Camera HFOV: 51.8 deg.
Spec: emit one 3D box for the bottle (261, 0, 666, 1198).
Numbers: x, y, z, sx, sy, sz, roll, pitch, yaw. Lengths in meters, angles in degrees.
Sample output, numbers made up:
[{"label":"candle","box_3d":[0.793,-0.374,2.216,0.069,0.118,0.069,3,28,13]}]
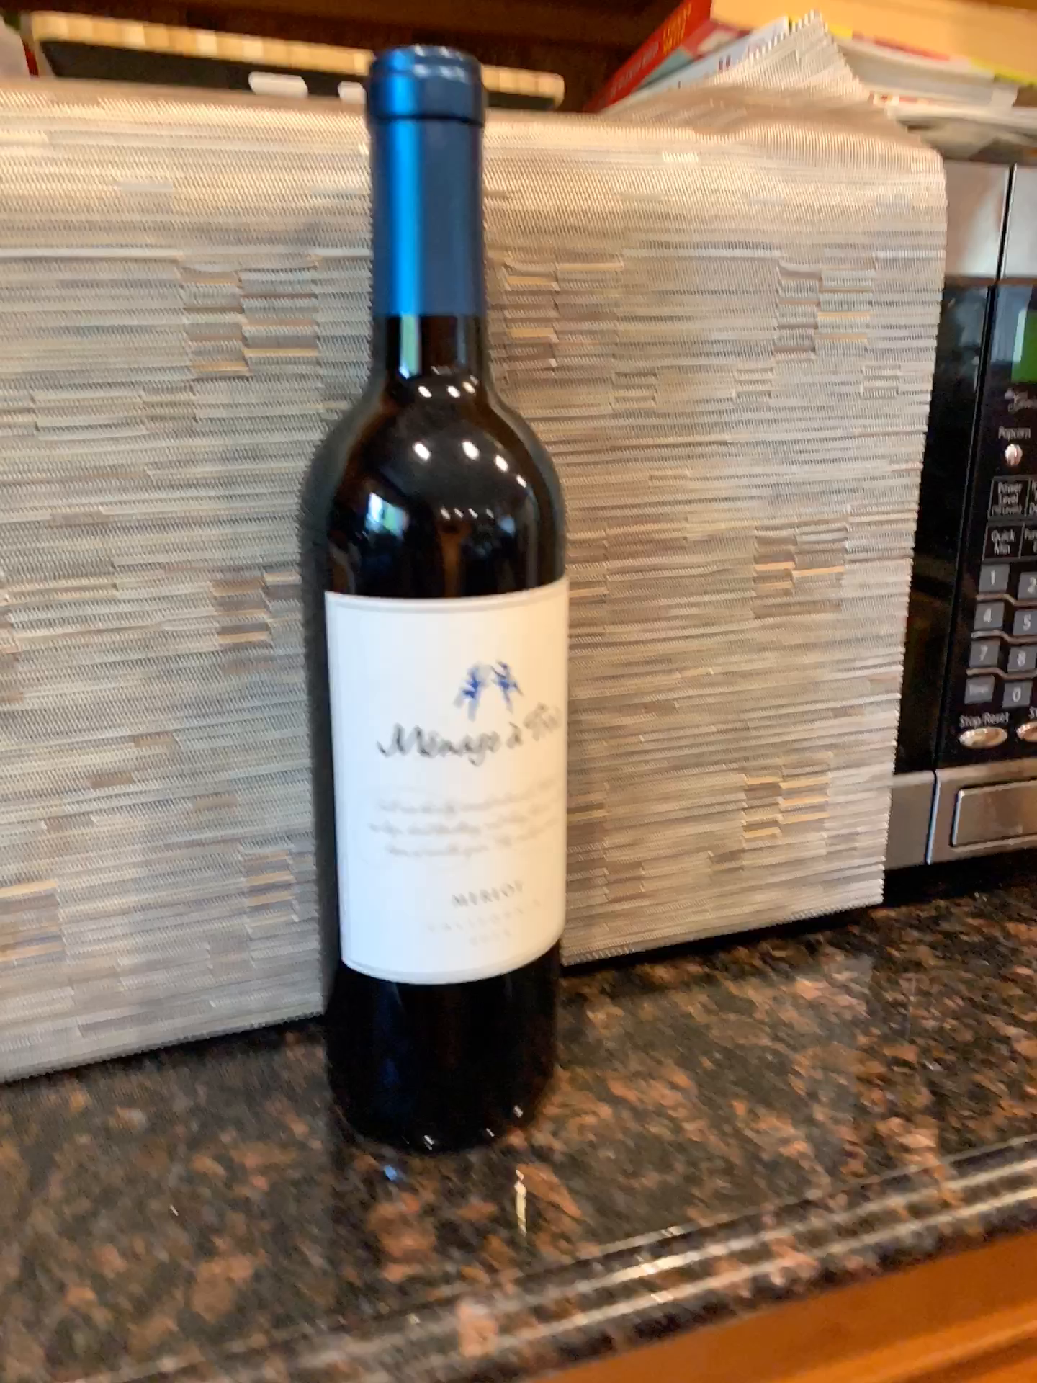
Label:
[{"label":"bottle","box_3d":[-0.019,-0.019,0.308,0.080,0.309,0.080,1,17,0]}]
